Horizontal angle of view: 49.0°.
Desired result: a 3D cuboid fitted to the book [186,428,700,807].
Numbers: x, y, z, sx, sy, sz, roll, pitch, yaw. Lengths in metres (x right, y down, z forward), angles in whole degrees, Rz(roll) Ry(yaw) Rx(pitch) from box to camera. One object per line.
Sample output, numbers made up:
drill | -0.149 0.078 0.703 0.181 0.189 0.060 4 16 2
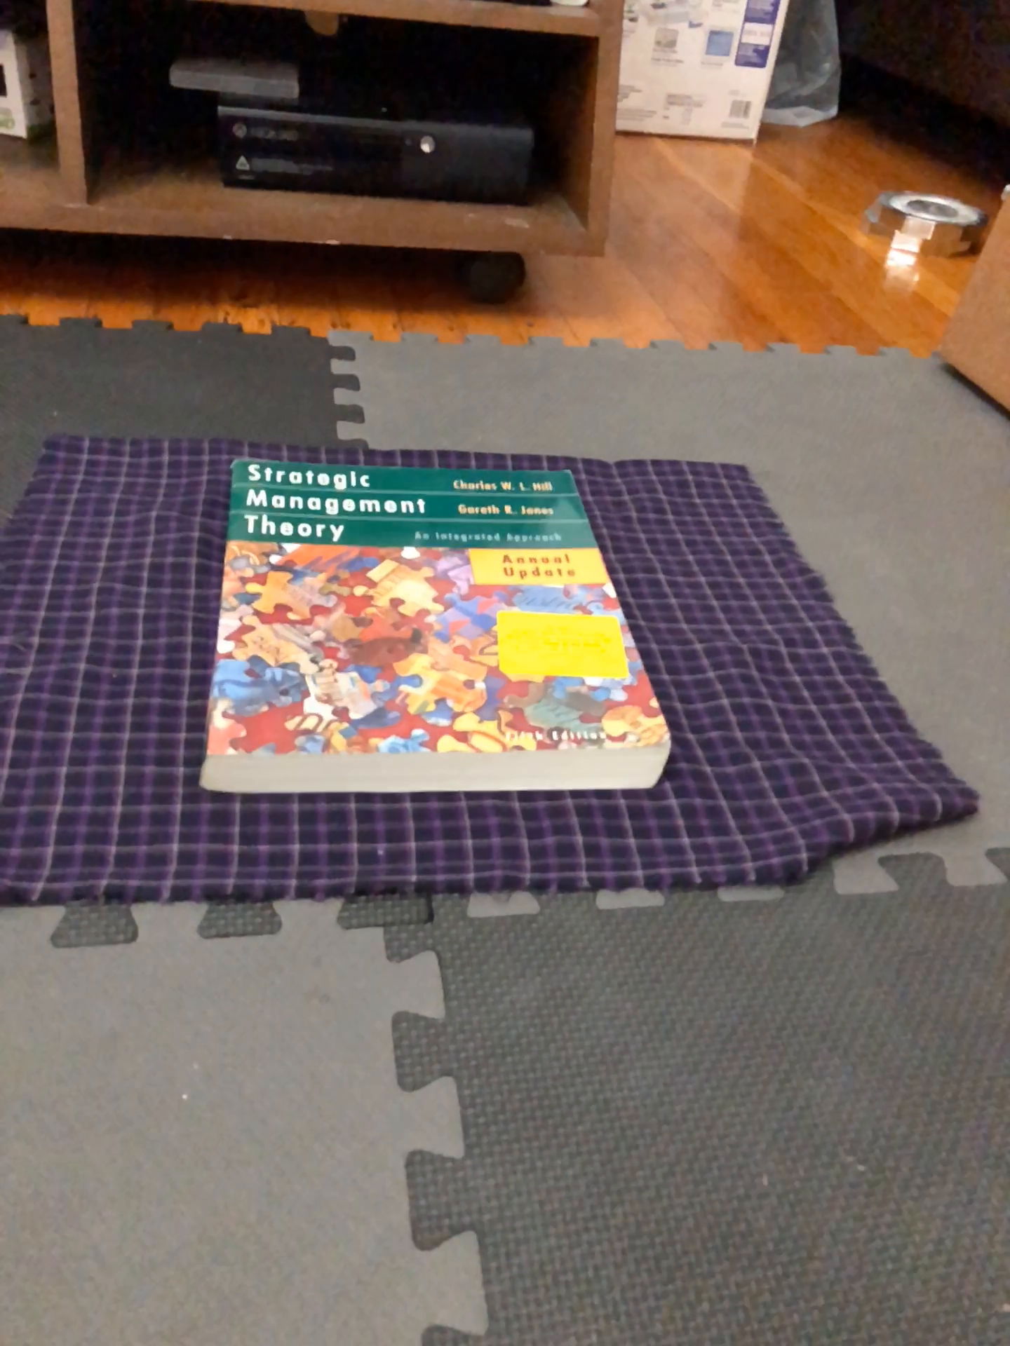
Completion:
book | -0.042 -0.046 0.612 0.230 0.040 0.282 0 40 -9
